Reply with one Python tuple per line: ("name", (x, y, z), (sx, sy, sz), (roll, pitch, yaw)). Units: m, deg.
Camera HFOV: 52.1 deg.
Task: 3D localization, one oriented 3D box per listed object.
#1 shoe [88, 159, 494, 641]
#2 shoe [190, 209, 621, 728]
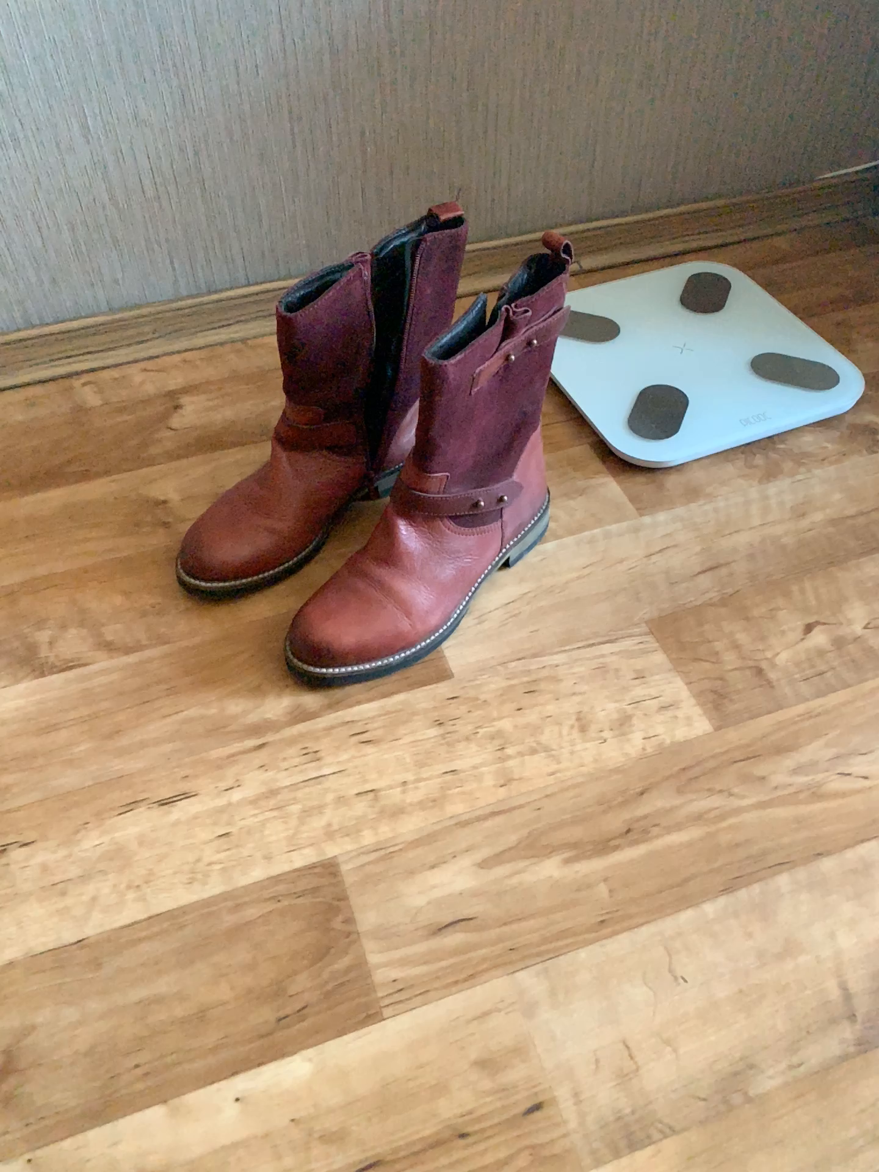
("shoe", (-0.085, -0.135, 0.665), (0.100, 0.249, 0.250), (36, 58, 28))
("shoe", (-0.009, -0.075, 0.594), (0.090, 0.239, 0.250), (36, 58, 28))
